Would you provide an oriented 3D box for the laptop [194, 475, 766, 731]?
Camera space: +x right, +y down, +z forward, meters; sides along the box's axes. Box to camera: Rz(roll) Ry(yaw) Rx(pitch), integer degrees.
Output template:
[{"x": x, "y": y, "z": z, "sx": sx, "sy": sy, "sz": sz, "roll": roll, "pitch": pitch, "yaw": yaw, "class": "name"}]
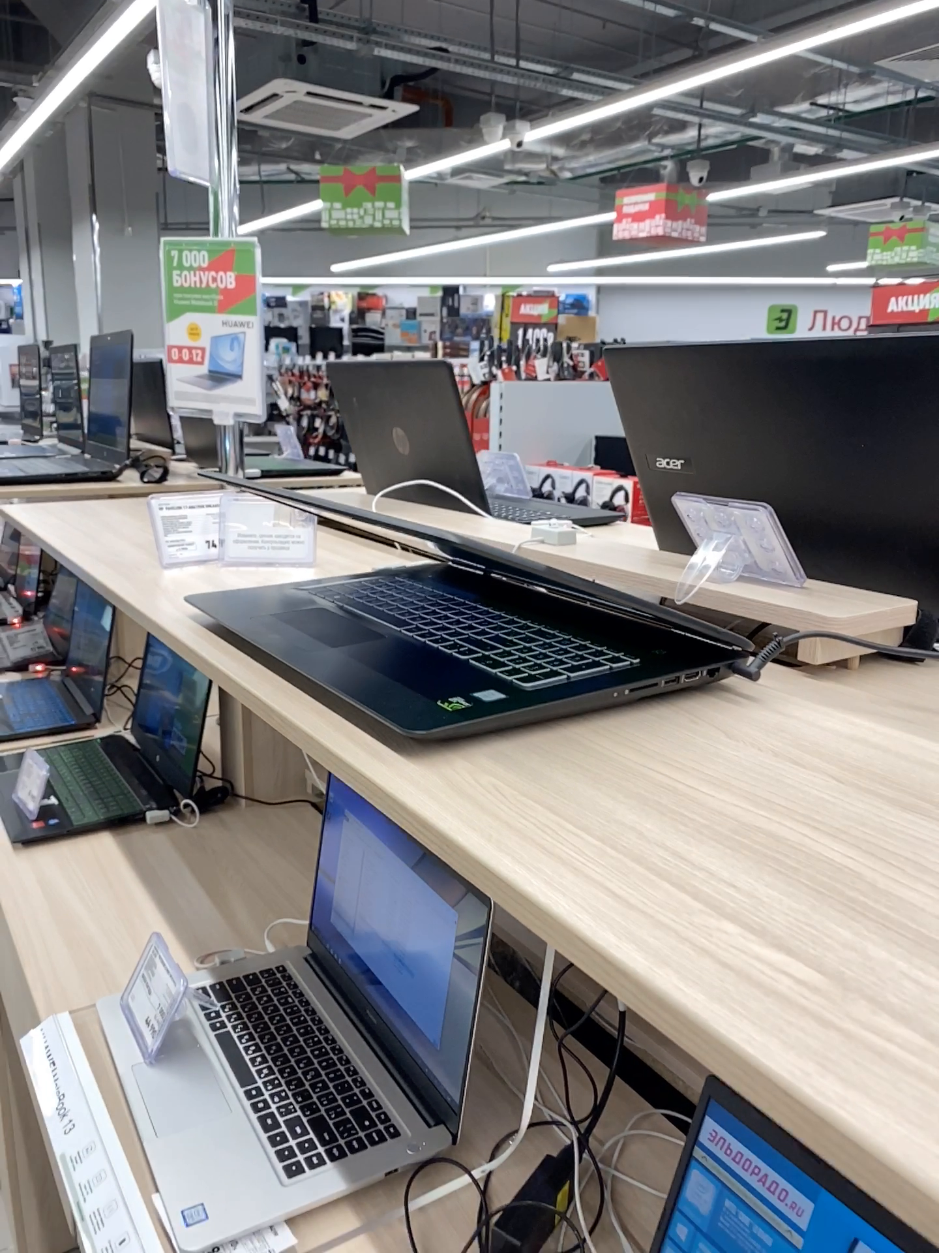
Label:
[{"x": -0.023, "y": -0.049, "z": 0.760, "sx": 0.268, "sy": 0.095, "sz": 0.415, "roll": -10, "pitch": 16, "yaw": -31, "class": "laptop"}]
